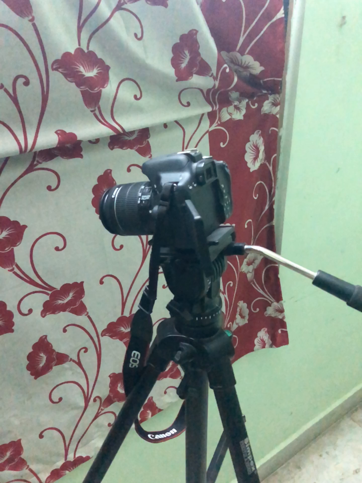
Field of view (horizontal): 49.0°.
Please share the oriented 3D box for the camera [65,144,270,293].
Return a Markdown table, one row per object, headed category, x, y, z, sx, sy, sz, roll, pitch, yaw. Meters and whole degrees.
| category | x | y | z | sx | sy | sz | roll | pitch | yaw |
| --- | --- | --- | --- | --- | --- | --- | --- | --- | --- |
| camera | -0.001 | -0.043 | 0.443 | 0.140 | 0.087 | 0.201 | 11 | 26 | 25 |
